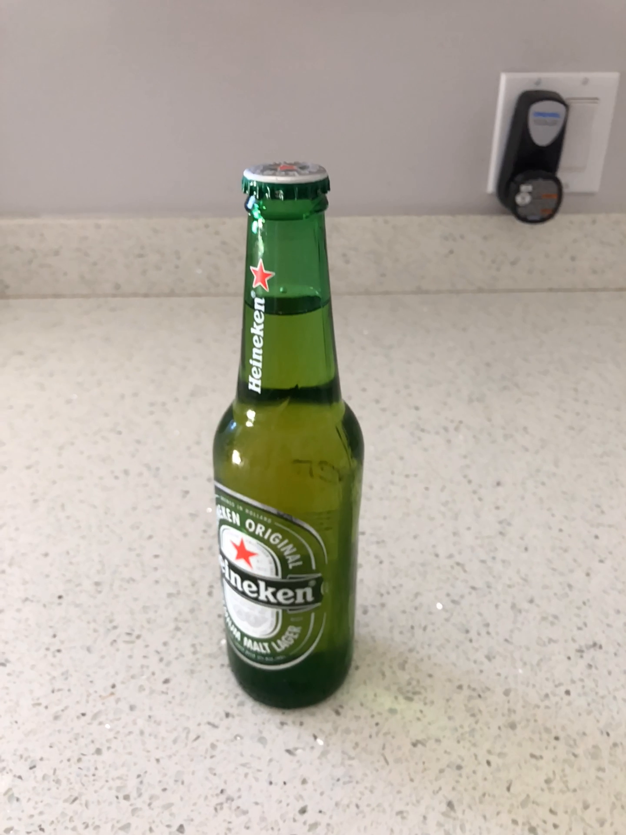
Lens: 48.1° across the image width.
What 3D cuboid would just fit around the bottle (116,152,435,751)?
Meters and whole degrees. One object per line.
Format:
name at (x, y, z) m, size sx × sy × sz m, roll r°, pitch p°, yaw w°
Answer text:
bottle at (-0.009, 0.018, 0.268) m, size 0.070 × 0.209 × 0.070 m, roll -1°, pitch 30°, yaw 0°
